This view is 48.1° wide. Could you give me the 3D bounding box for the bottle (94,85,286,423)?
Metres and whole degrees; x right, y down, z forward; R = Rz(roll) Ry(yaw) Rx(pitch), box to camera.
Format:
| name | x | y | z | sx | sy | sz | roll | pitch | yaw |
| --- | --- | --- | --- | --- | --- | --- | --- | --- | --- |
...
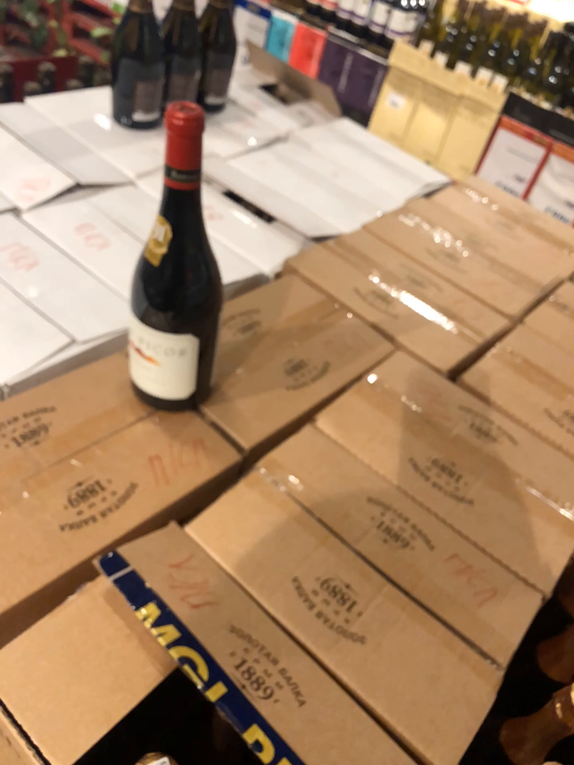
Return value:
| name | x | y | z | sx | sy | sz | roll | pitch | yaw |
| --- | --- | --- | --- | --- | --- | --- | --- | --- | --- |
| bottle | -0.099 | -0.105 | 0.575 | 0.100 | 0.268 | 0.100 | 9 | 42 | -8 |
